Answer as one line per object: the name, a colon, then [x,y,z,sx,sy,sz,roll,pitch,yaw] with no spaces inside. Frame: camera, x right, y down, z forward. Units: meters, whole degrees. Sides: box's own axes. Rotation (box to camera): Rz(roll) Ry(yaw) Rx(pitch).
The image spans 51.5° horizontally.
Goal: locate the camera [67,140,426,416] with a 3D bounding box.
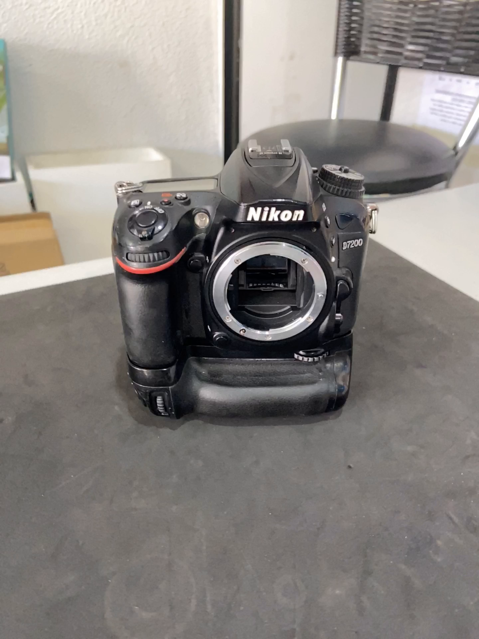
camera: [0.002,-0.026,0.265,0.140,0.109,0.101,-1,32,-1]
